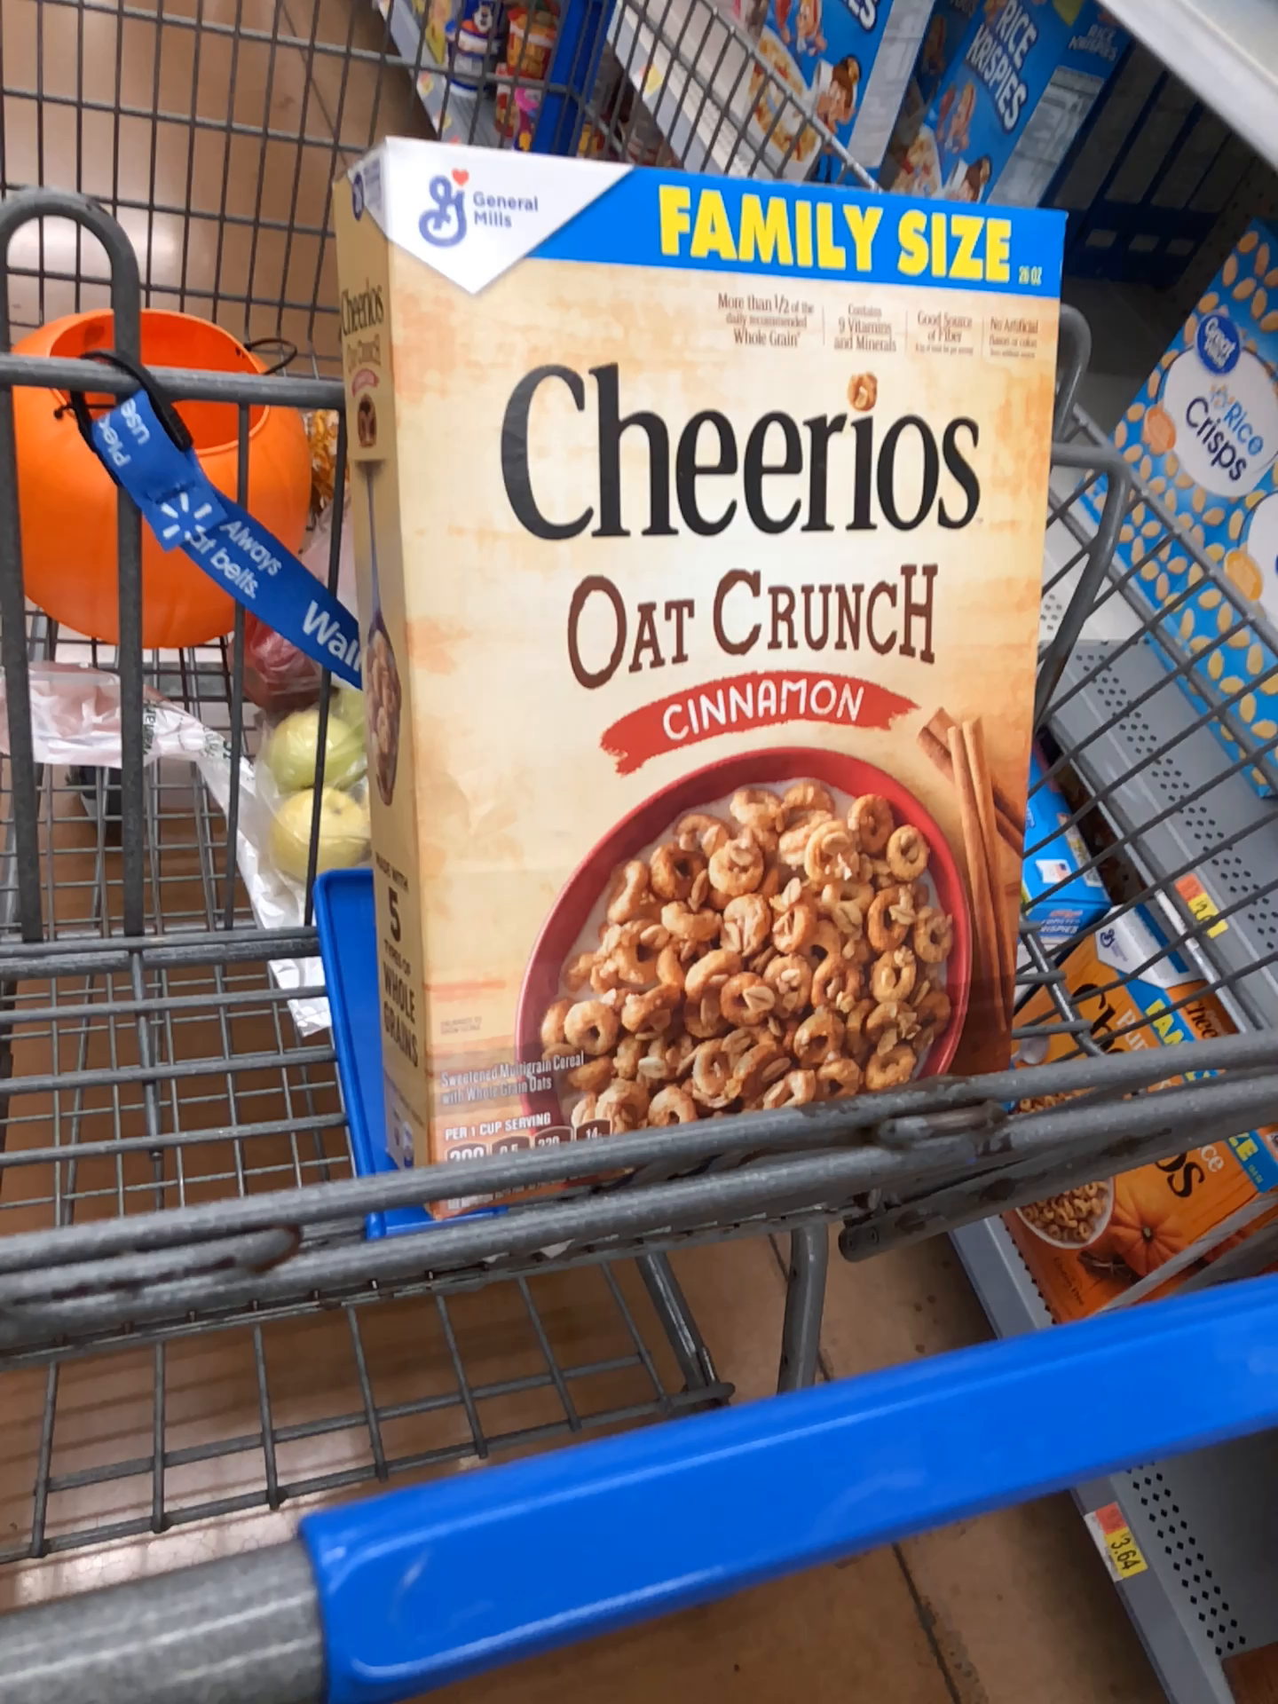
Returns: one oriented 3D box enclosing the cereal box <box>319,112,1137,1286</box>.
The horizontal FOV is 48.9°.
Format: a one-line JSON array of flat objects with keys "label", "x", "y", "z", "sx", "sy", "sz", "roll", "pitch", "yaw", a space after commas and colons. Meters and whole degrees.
[{"label": "cereal box", "x": 0.033, "y": -0.048, "z": 0.483, "sx": 0.250, "sy": 0.330, "sz": 0.080, "roll": -7, "pitch": 17, "yaw": -27}]
